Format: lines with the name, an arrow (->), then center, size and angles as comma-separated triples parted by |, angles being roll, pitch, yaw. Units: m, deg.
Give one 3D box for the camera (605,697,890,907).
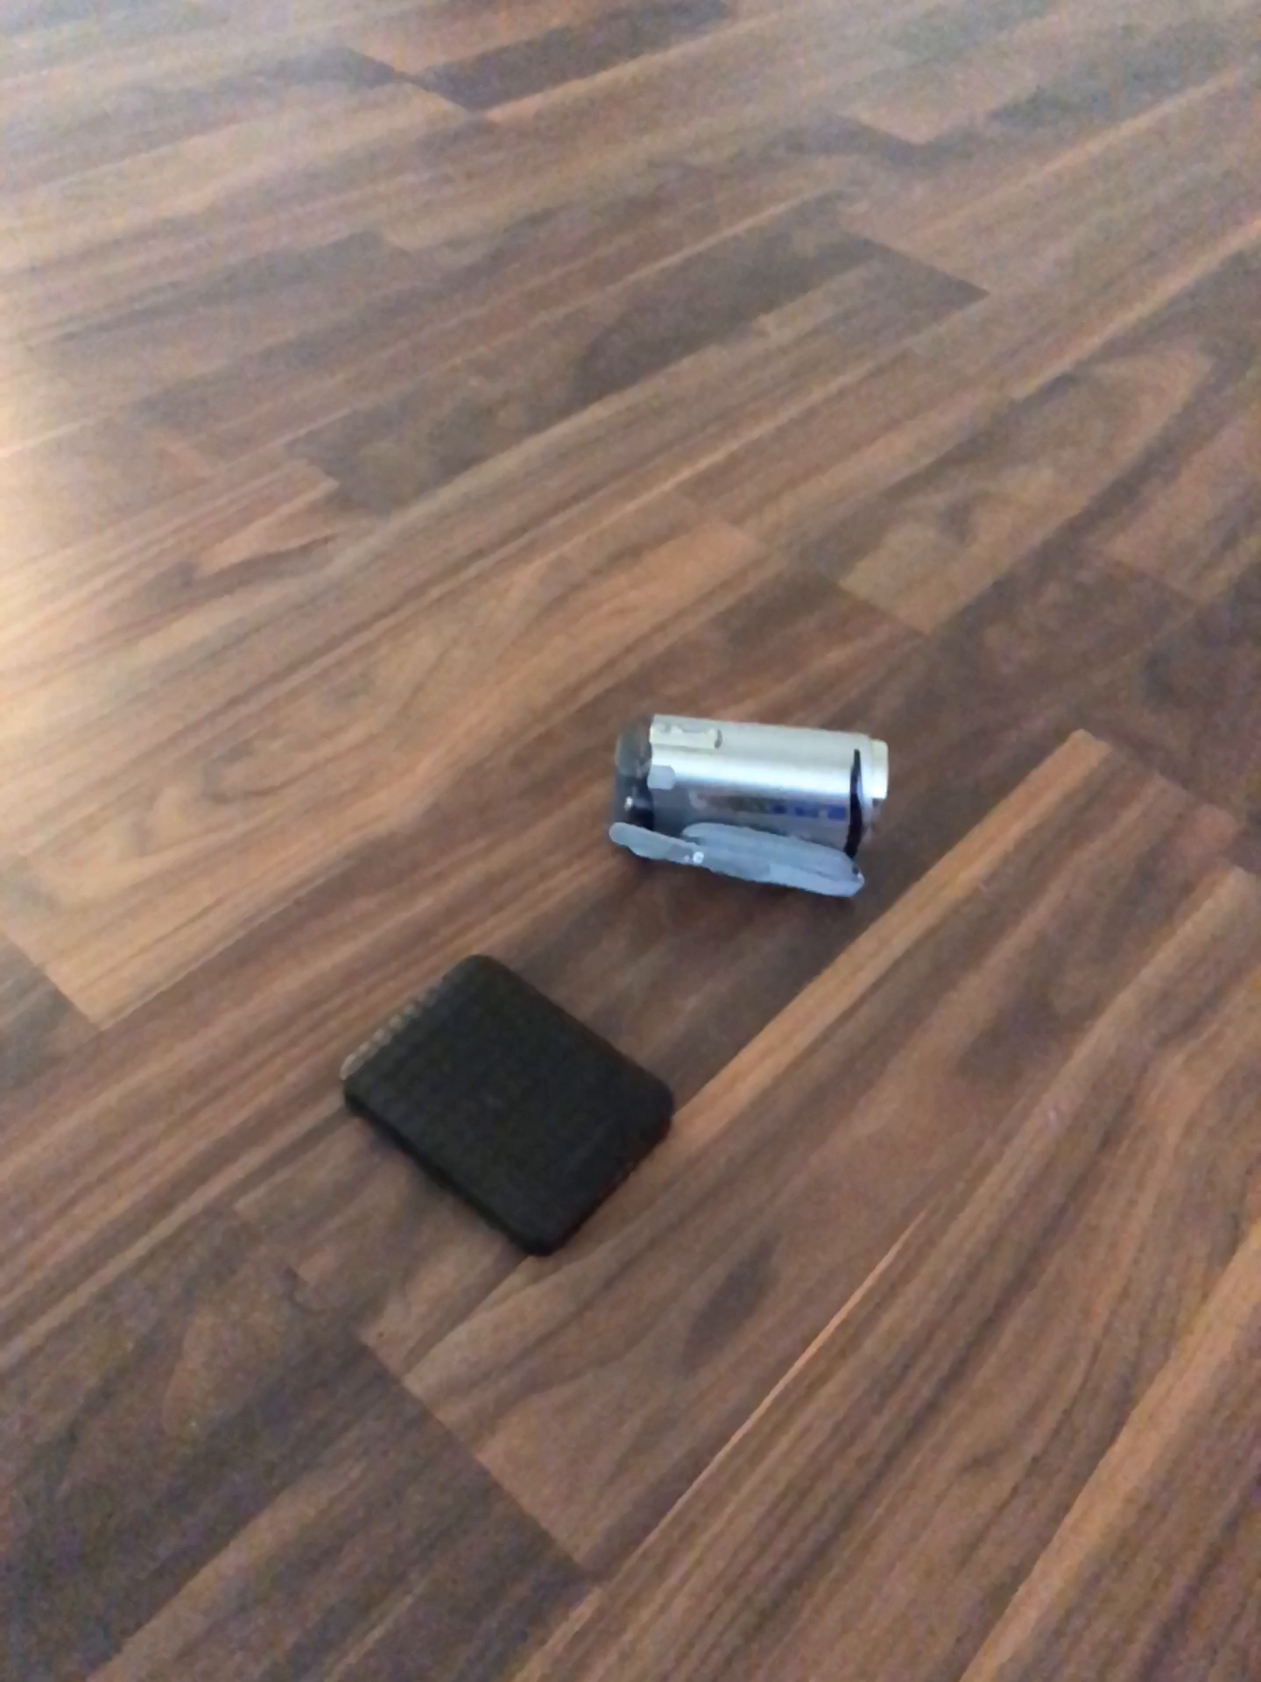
camera -> 0.050, -0.017, 0.617 | 0.115, 0.065, 0.048 | 7, 47, 1
